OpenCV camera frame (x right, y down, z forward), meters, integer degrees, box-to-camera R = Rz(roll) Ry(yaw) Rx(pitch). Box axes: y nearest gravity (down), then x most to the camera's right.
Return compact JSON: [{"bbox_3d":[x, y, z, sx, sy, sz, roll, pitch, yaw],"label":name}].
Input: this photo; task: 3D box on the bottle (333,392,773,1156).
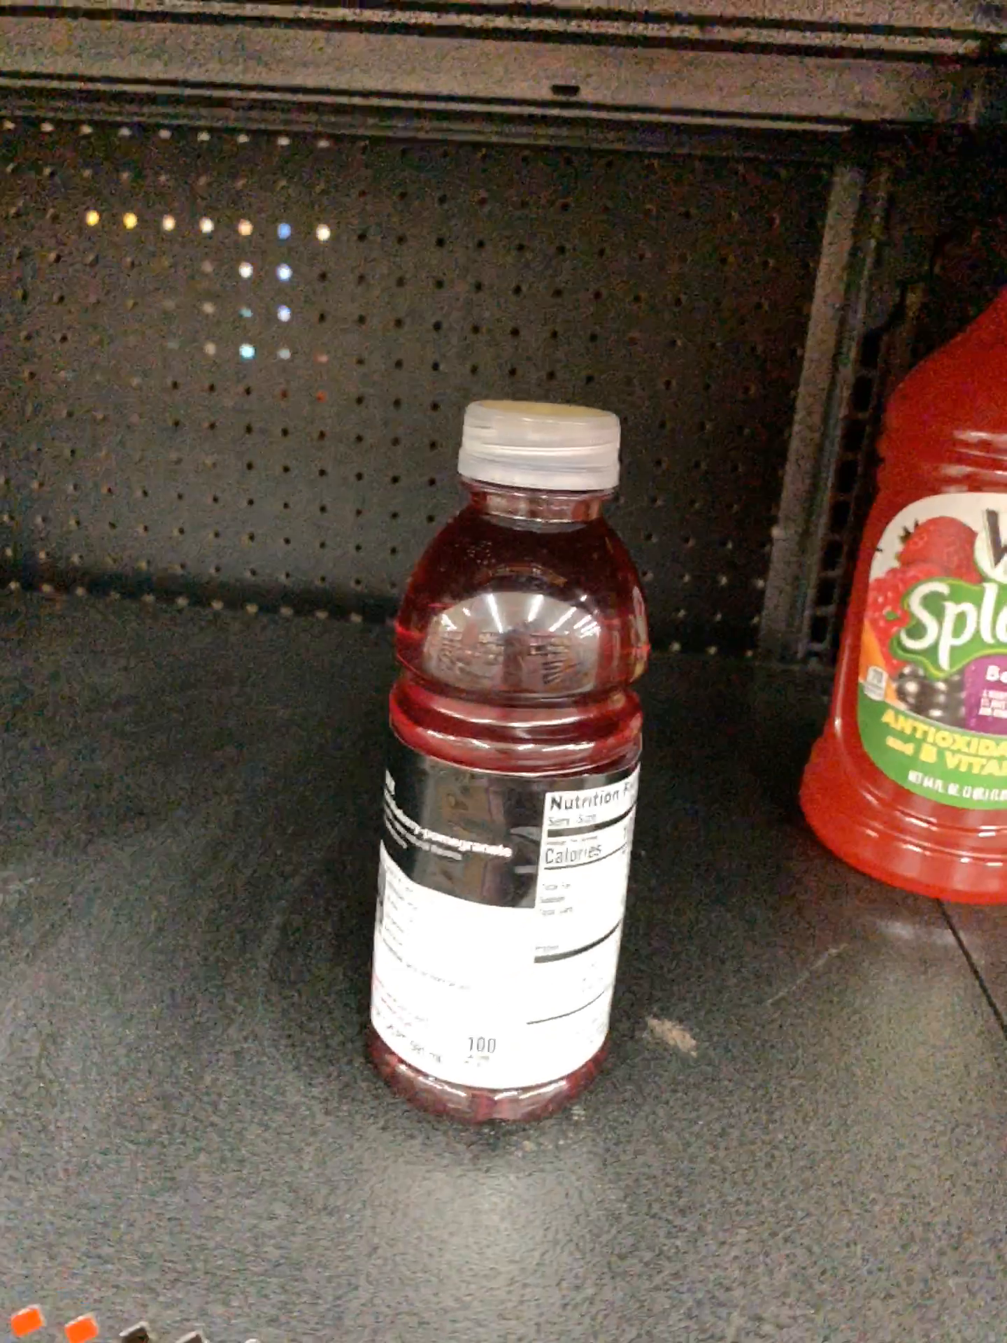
[{"bbox_3d":[0.003,0.022,0.284,0.080,0.179,0.080,3,21,-1],"label":"bottle"}]
